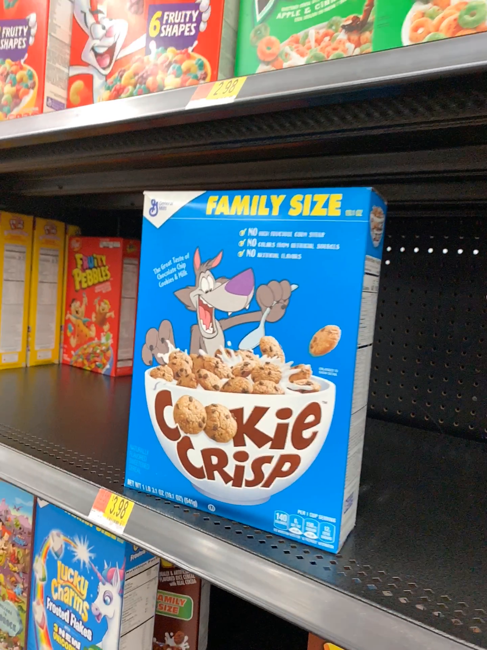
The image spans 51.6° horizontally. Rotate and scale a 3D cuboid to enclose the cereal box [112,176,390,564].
[{"bbox_3d":[0.001,0.029,0.515,0.250,0.340,0.070,6,4,21],"label":"cereal box"}]
